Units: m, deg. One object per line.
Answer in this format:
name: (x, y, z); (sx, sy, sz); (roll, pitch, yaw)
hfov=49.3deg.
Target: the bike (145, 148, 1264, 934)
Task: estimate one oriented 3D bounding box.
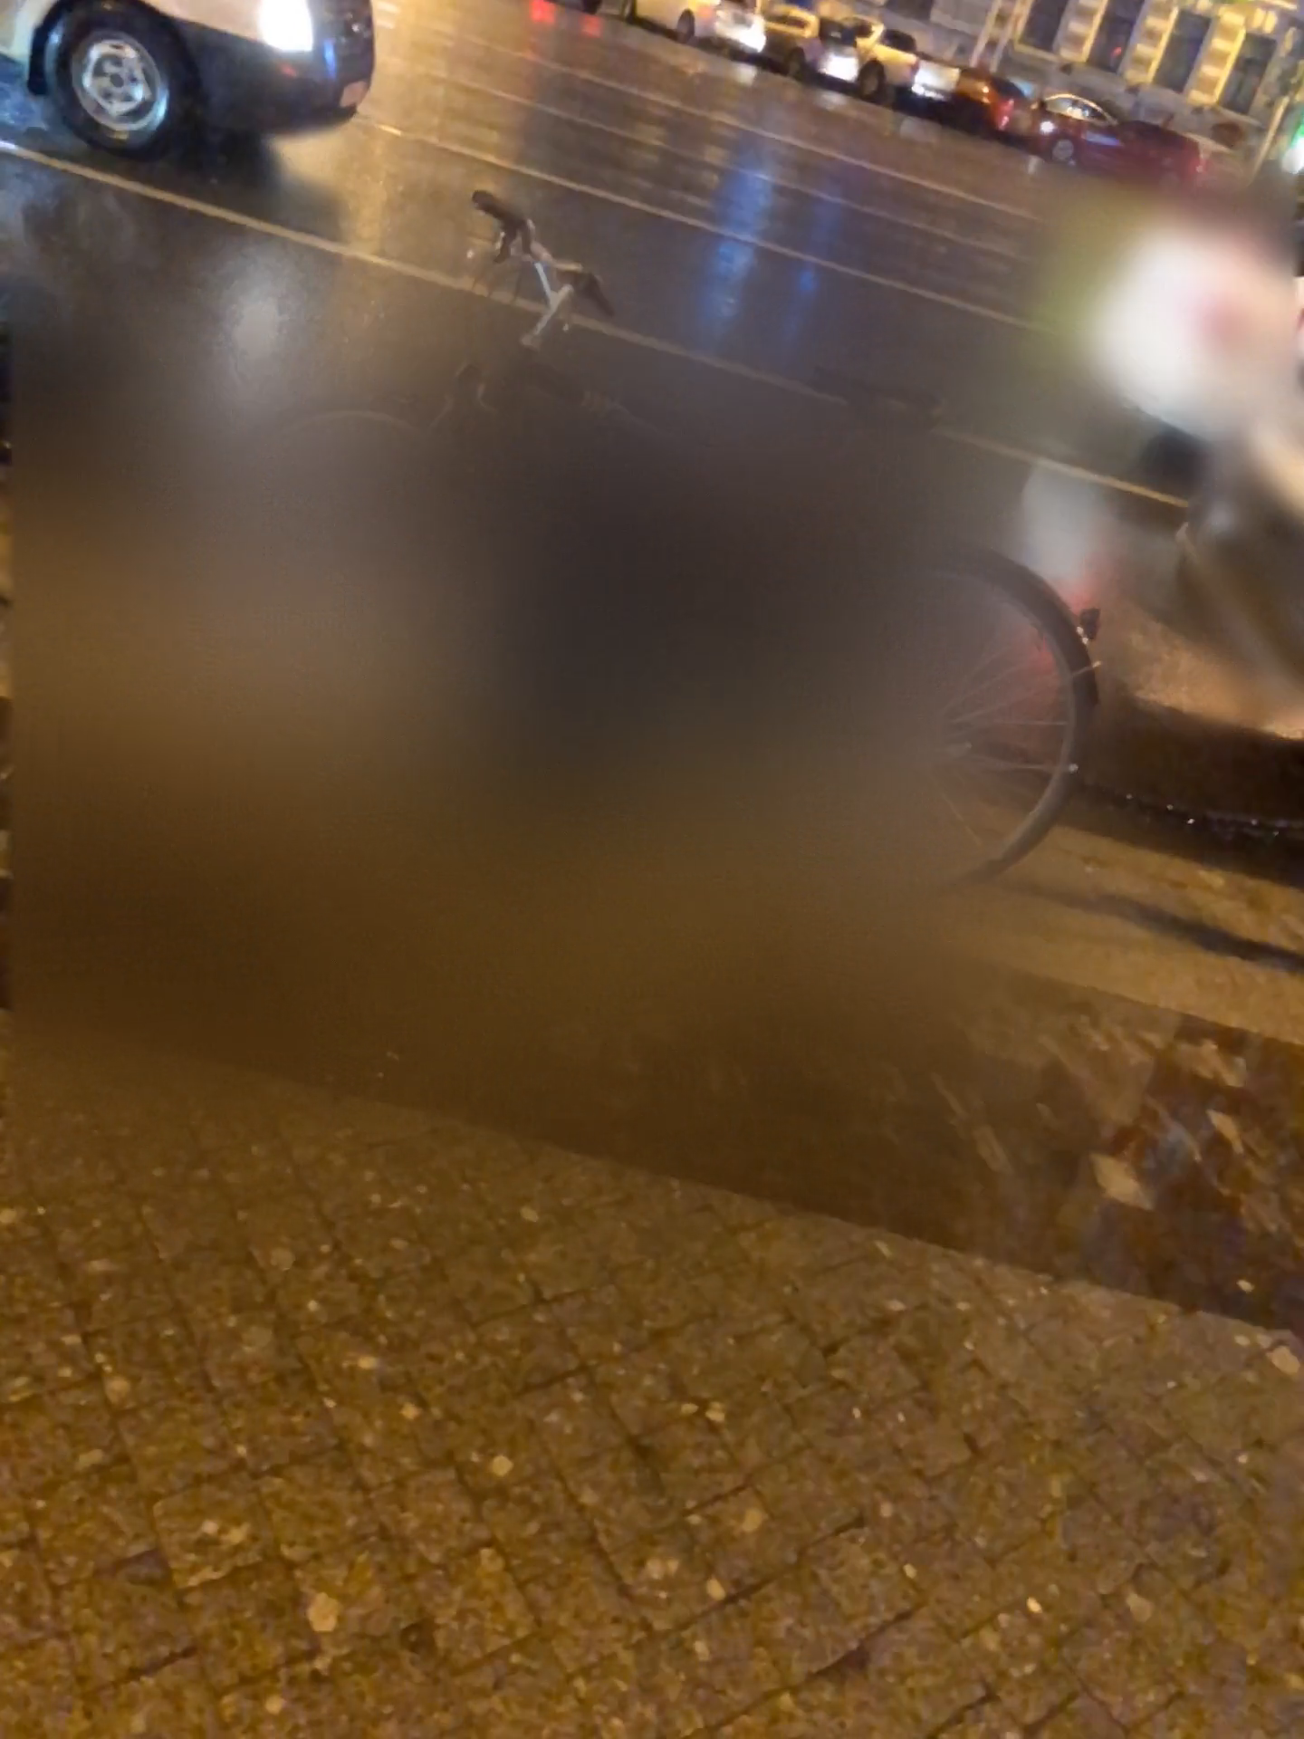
bike: (0.028, -0.632, 2.733); (1.748, 0.961, 0.556); (15, 29, -1)
